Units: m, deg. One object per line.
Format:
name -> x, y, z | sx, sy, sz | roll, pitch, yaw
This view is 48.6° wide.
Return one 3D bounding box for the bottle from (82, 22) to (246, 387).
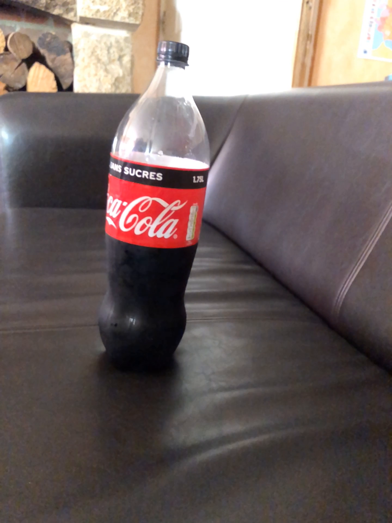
bottle -> -0.038, -0.052, 0.439 | 0.100, 0.319, 0.101 | 6, 18, -2
